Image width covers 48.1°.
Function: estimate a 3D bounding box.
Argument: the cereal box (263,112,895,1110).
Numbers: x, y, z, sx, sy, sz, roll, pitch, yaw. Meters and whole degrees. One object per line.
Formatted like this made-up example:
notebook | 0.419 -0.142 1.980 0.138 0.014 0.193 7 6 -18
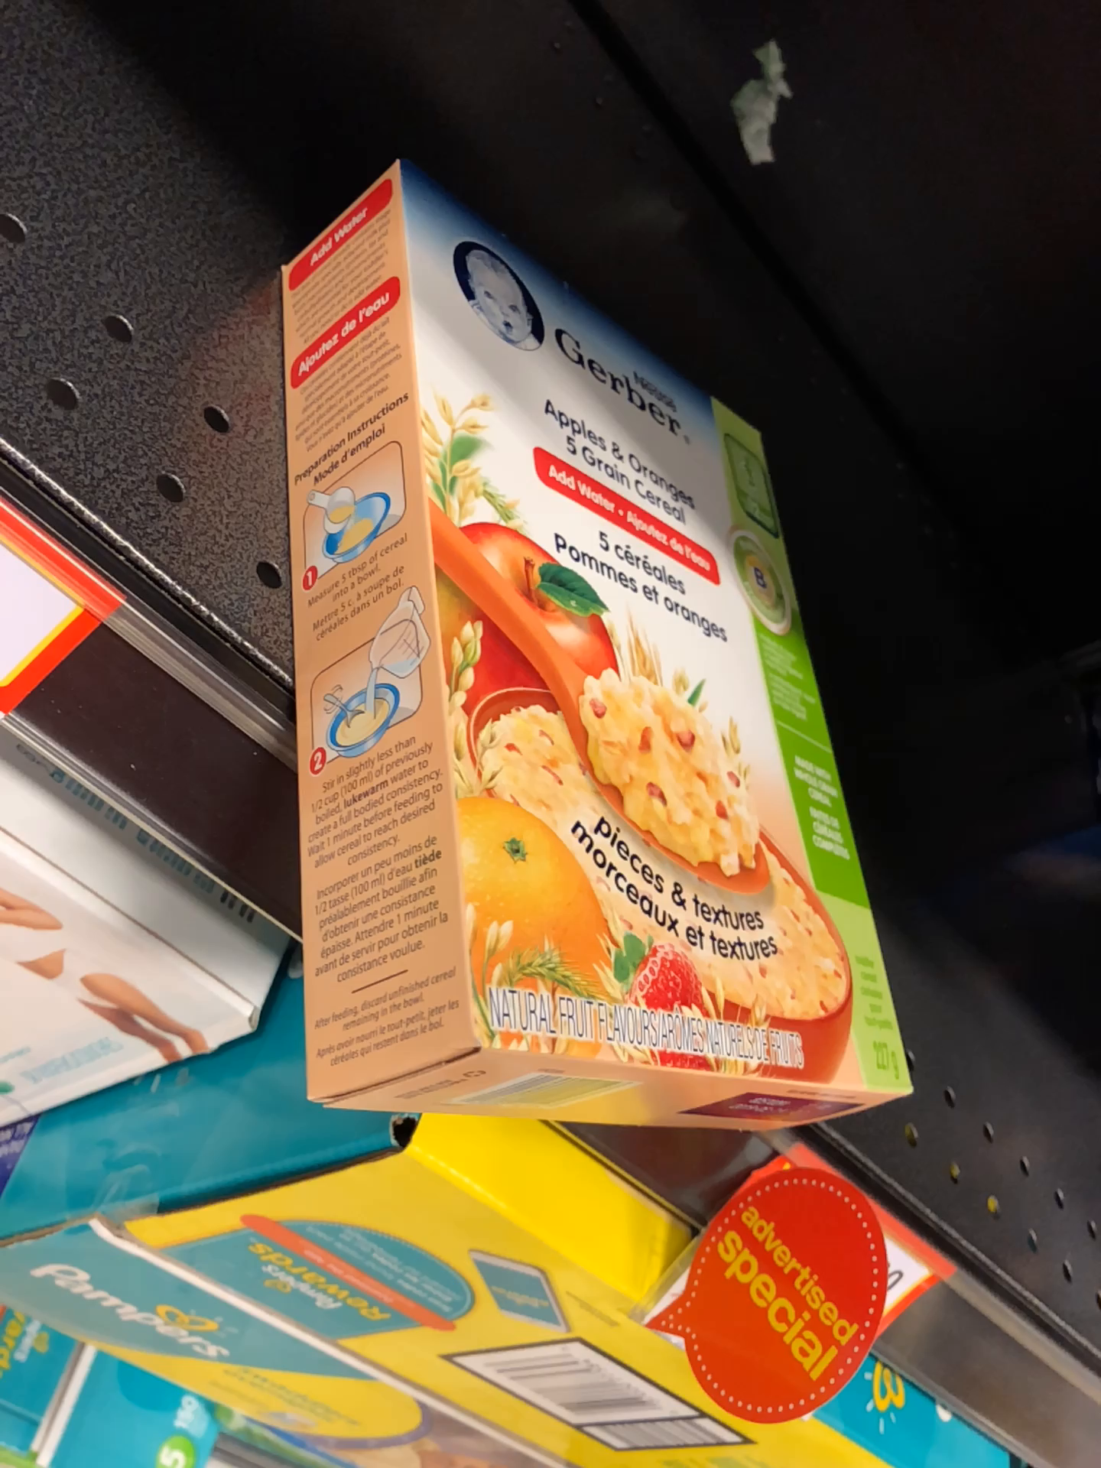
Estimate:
cereal box | 0.006 -0.022 0.308 0.151 0.050 0.210 21 53 -45
